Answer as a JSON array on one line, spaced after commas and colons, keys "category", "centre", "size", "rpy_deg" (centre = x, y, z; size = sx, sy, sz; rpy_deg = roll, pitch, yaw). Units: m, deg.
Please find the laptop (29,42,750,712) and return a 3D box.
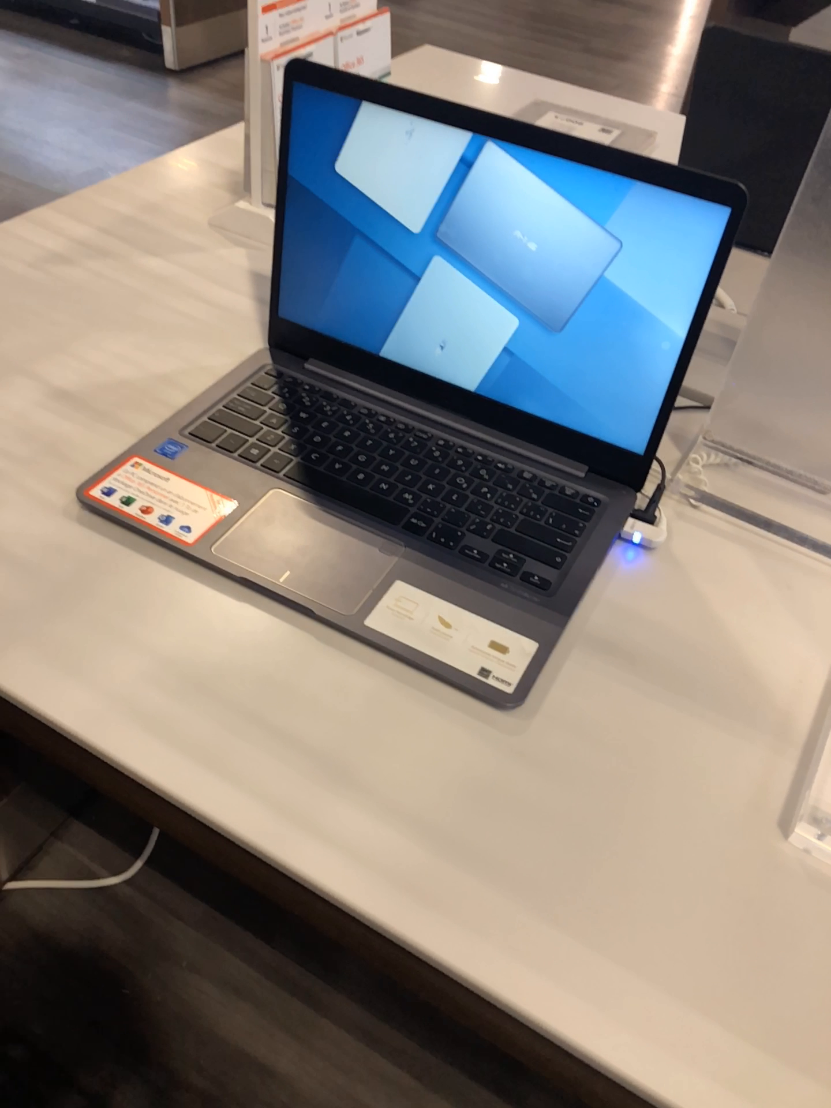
[{"category": "laptop", "centre": [-0.005, -0.142, 0.599], "size": [0.333, 0.180, 0.301], "rpy_deg": [23, 51, 14]}]
